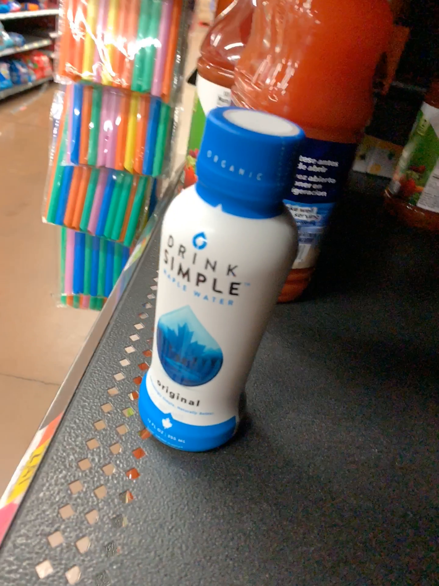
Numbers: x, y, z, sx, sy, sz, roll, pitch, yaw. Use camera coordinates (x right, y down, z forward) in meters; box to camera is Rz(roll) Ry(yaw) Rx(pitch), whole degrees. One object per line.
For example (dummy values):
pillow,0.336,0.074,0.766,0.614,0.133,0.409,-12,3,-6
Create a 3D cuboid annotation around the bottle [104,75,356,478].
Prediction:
bottle,-0.005,-0.003,0.218,0.070,0.169,0.066,8,34,-5
